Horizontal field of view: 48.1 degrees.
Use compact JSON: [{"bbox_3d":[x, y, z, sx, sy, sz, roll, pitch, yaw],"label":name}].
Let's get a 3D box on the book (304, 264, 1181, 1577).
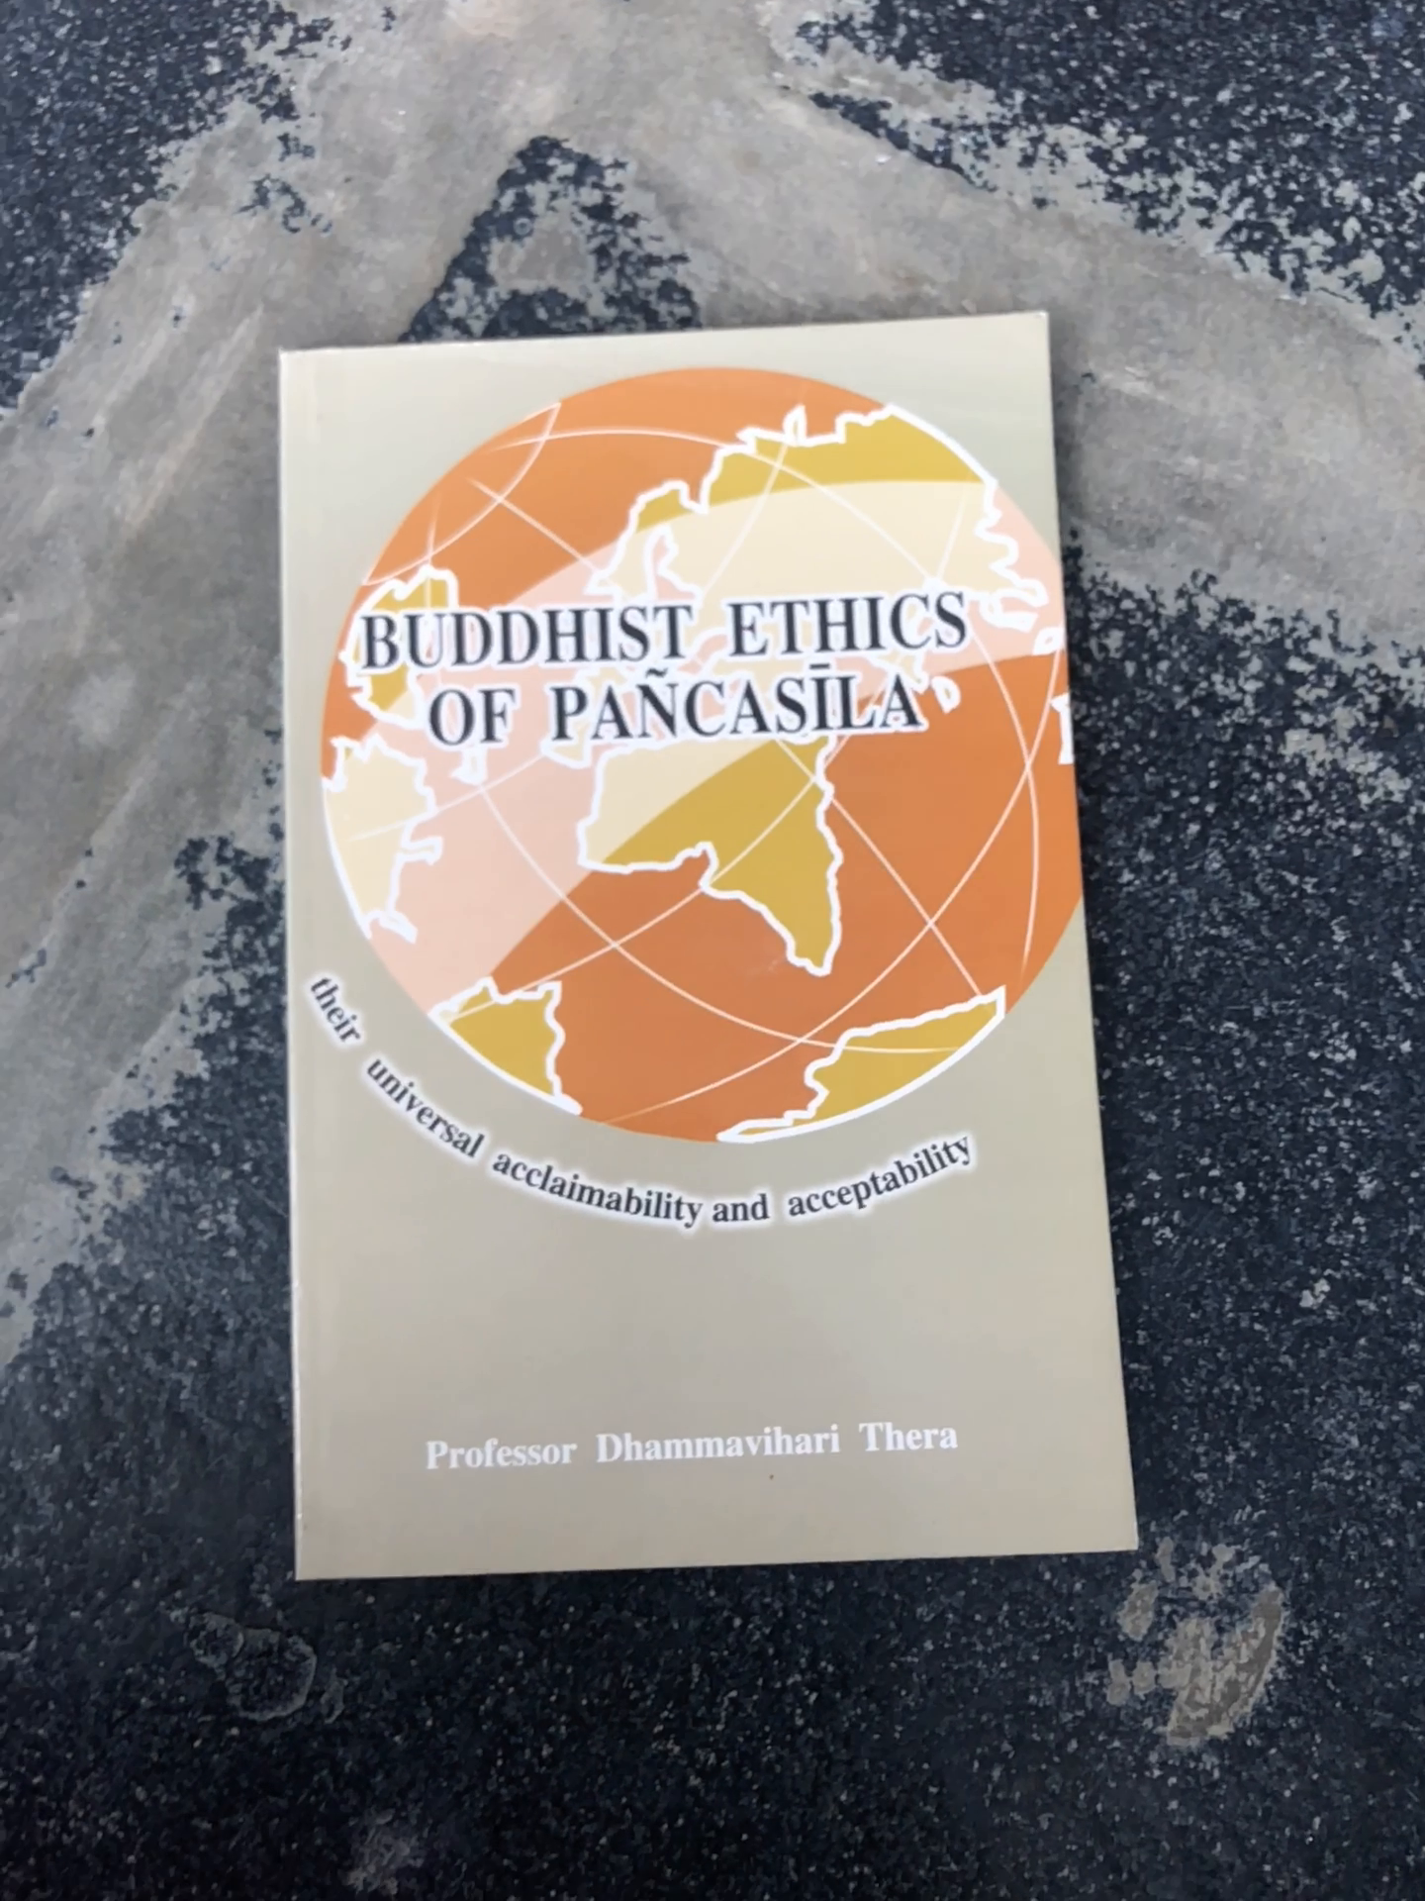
[{"bbox_3d":[0.002,-0.011,0.274,0.140,0.010,0.220,-2,82,-1],"label":"book"}]
